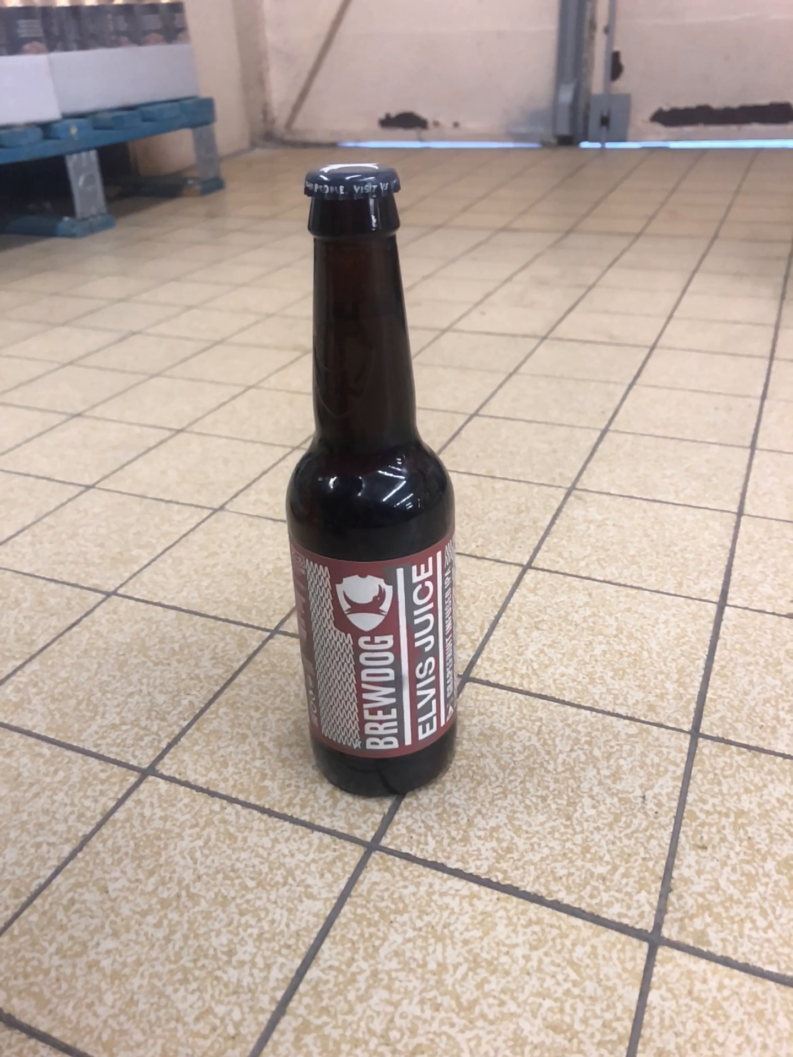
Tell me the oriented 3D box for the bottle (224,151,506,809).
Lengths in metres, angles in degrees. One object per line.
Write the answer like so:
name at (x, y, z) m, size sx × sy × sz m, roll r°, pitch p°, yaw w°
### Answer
bottle at (-0.001, -0.010, 0.296) m, size 0.070 × 0.209 × 0.070 m, roll -2°, pitch 28°, yaw 1°
